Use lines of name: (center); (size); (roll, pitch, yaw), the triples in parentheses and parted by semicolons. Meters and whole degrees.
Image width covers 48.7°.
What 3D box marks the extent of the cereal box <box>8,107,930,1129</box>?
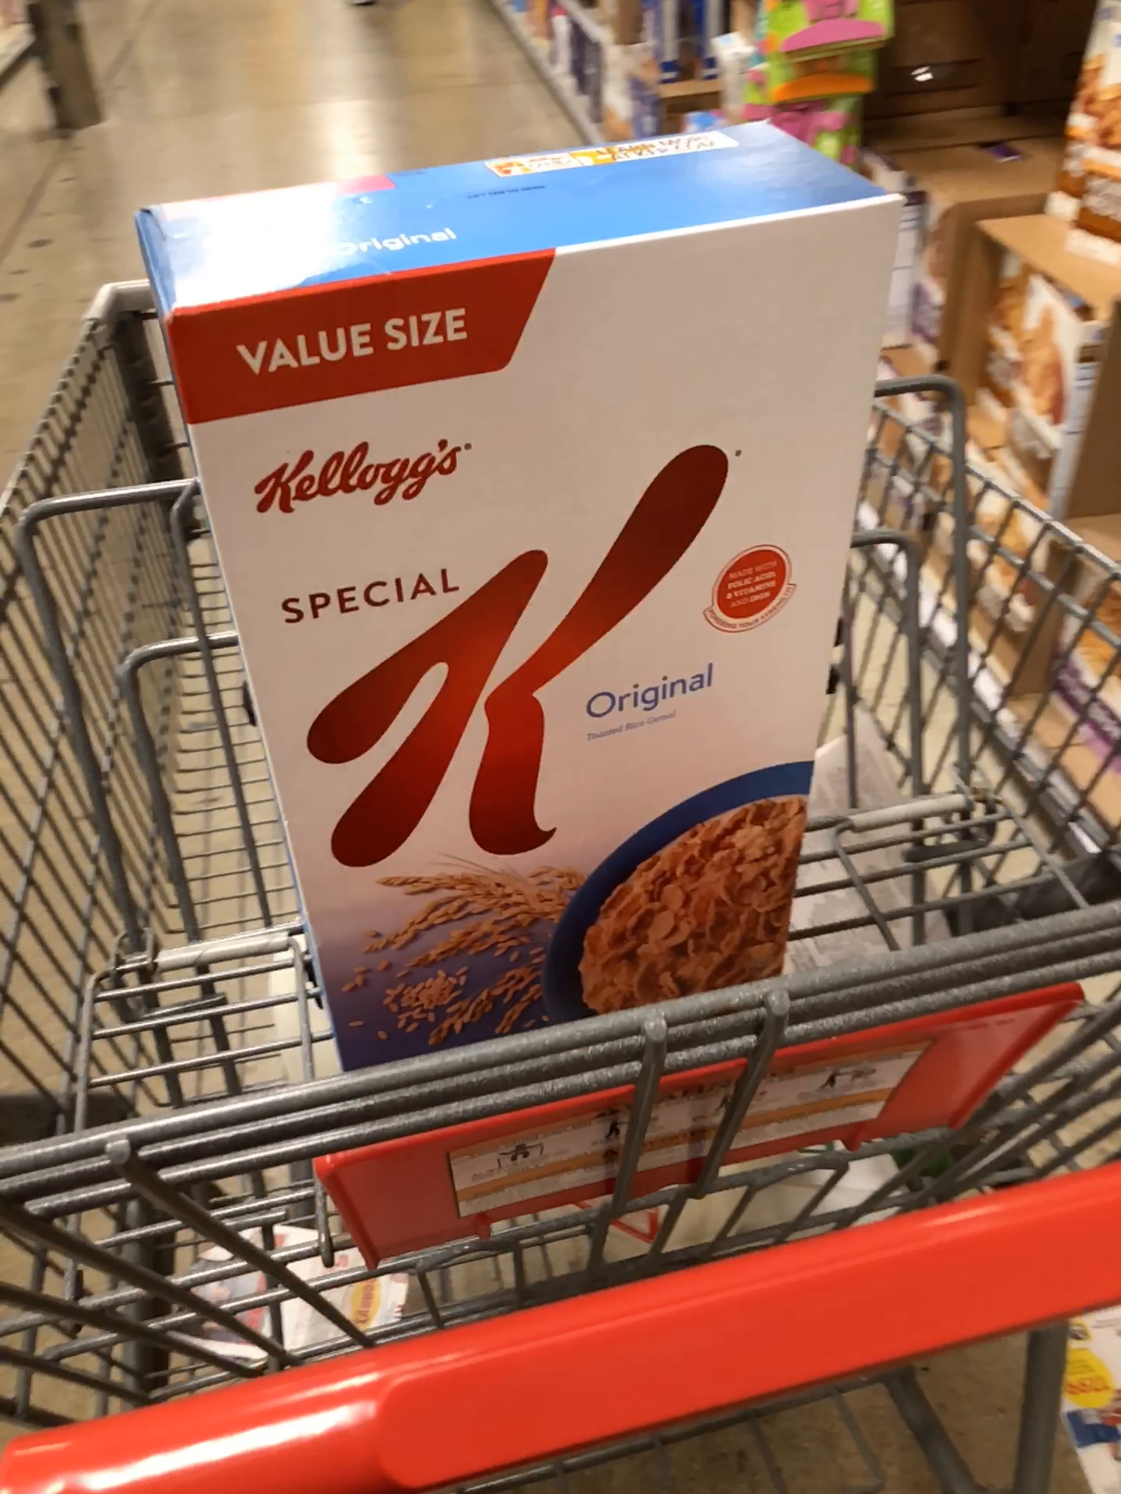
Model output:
cereal box: (-0.018, -0.022, 0.437); (0.230, 0.329, 0.080); (-13, 42, -11)
